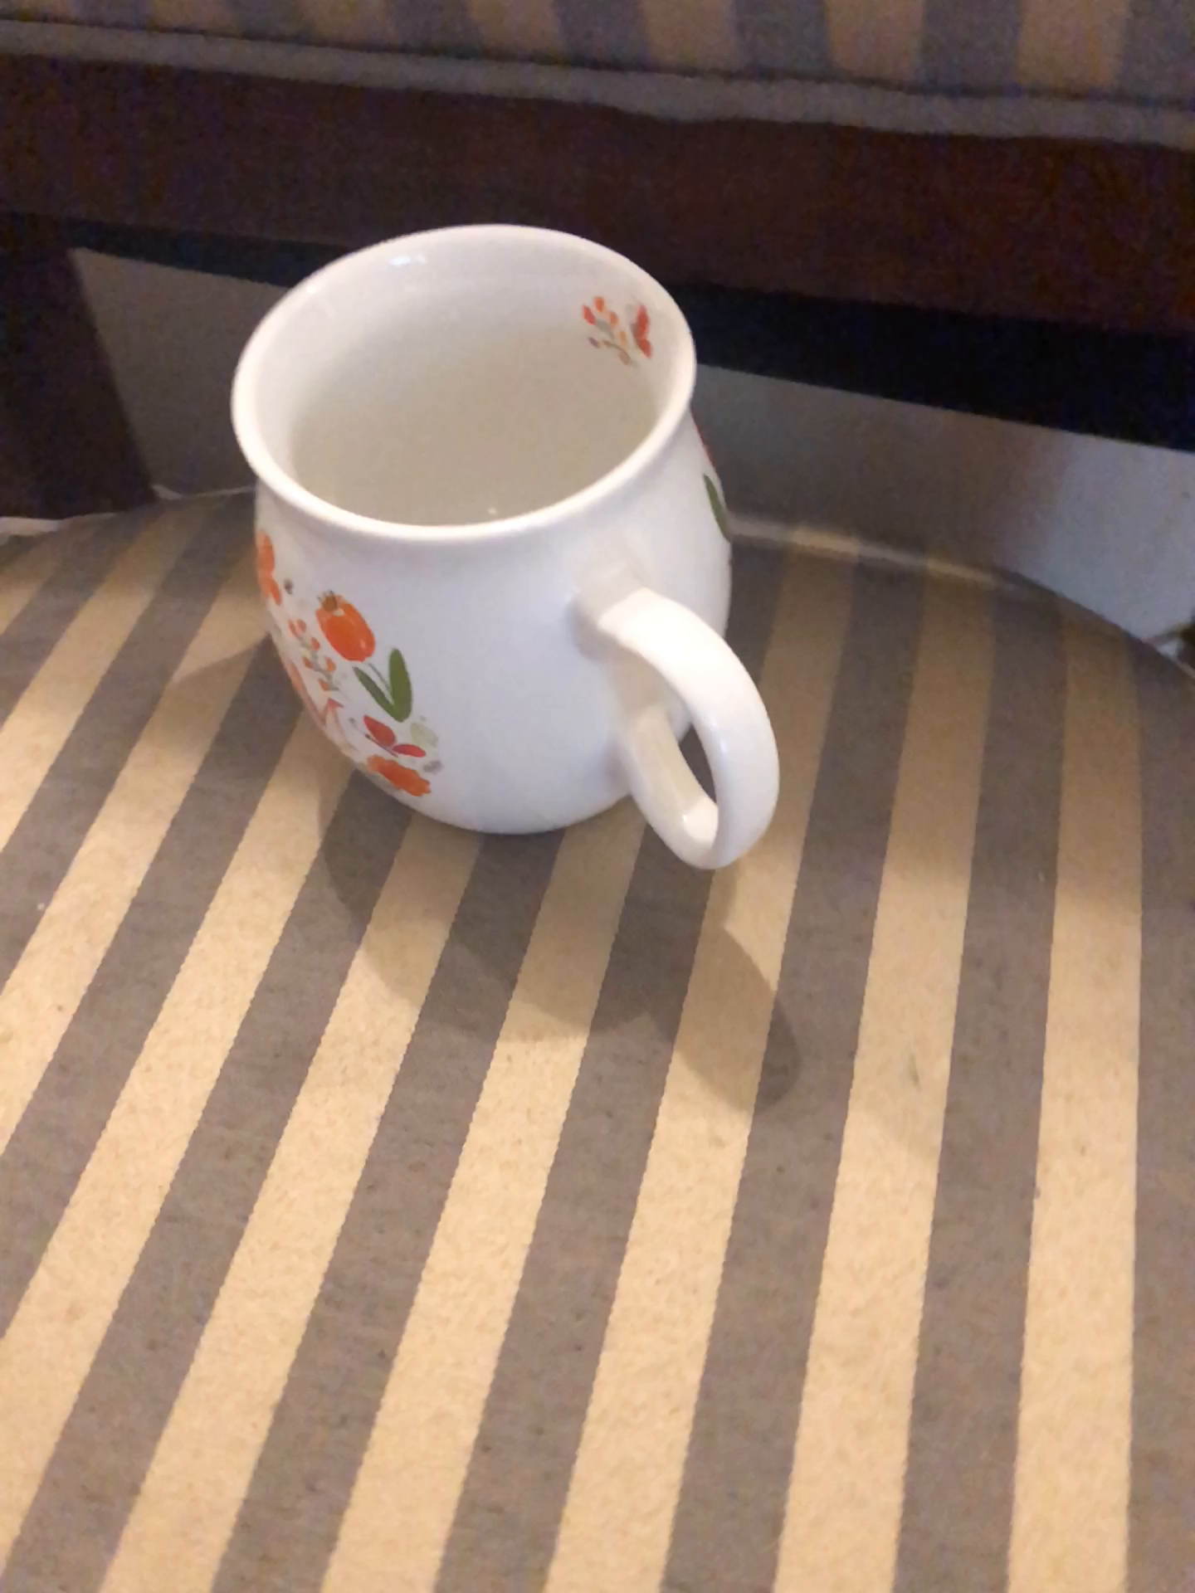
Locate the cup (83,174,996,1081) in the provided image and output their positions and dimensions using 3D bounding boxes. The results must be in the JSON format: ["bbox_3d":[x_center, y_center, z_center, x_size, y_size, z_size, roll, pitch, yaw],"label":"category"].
[{"bbox_3d":[-0.015,-0.042,0.280,0.110,0.090,0.141,-31,58,-18],"label":"cup"}]
